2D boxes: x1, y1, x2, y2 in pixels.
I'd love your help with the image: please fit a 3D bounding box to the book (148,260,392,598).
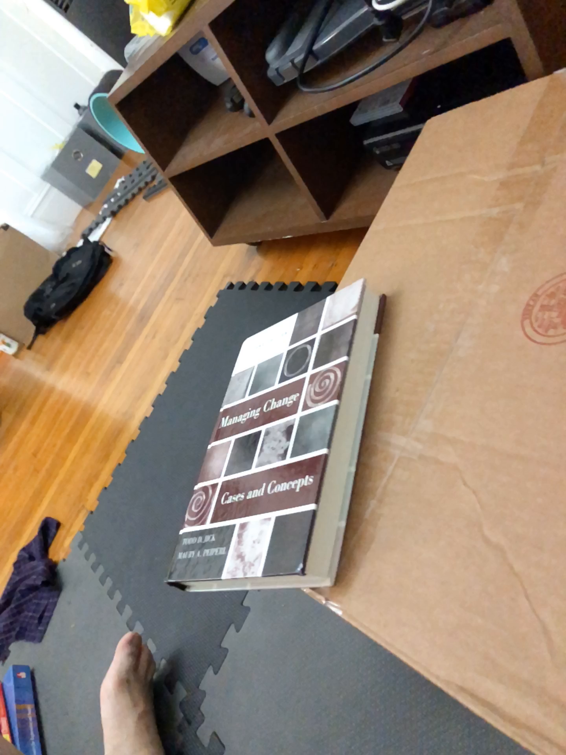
[{"bbox_3d":[-0.009,0.043,0.495,0.180,0.030,0.251,-22,44,45],"label":"book"}]
